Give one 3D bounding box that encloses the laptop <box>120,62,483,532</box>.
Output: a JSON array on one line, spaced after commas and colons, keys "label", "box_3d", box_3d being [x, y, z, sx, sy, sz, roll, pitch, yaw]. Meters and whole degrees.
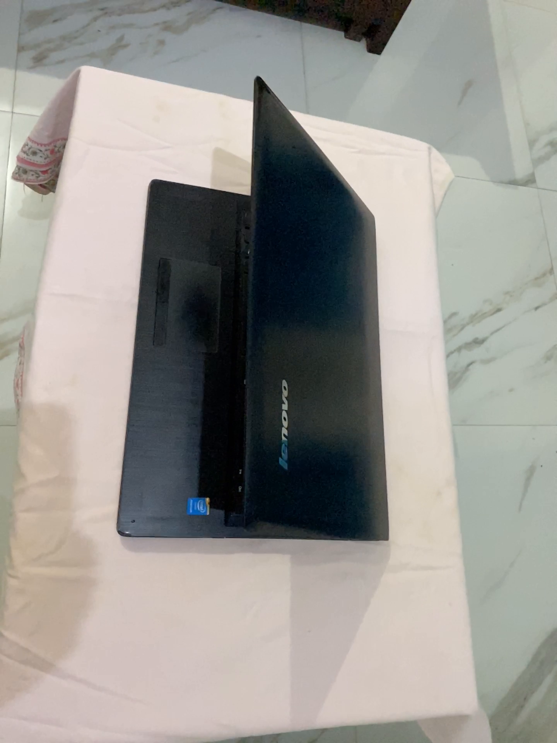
[{"label": "laptop", "box_3d": [0.004, -0.045, 0.528, 0.258, 0.176, 0.368, 5, 72, -15]}]
